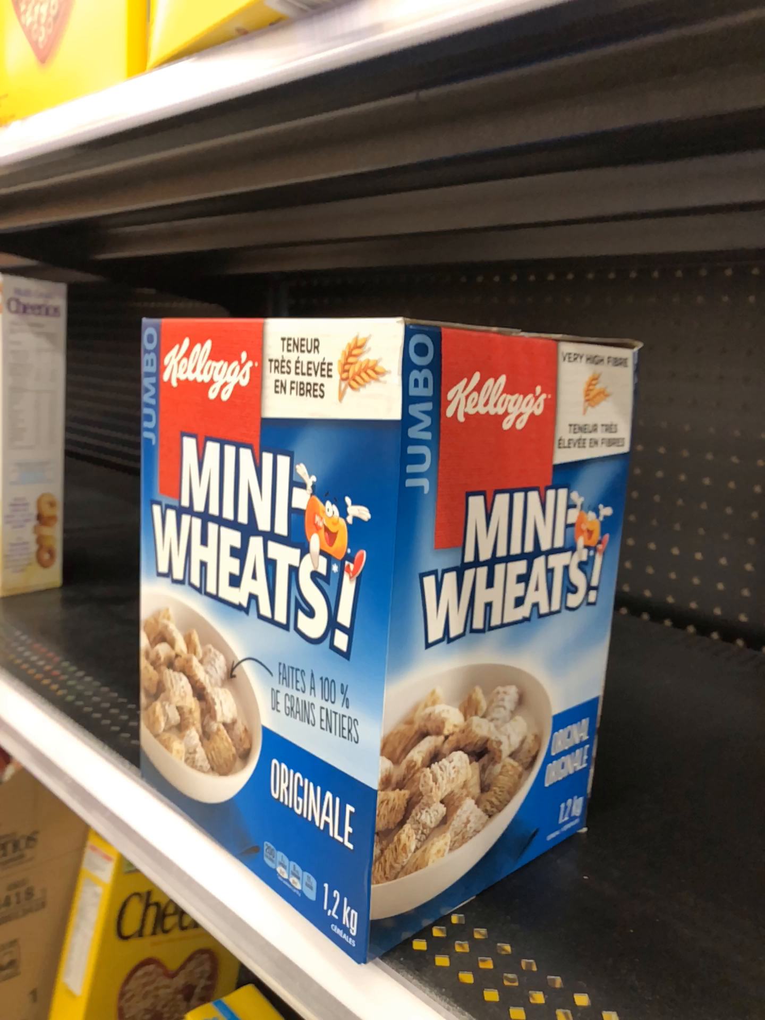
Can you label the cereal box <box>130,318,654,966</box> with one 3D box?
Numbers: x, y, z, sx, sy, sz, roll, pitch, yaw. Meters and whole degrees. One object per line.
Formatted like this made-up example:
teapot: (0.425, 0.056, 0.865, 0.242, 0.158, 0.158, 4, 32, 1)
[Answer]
cereal box: (-0.006, 0.034, 0.446, 0.170, 0.249, 0.200, -6, 13, -43)
